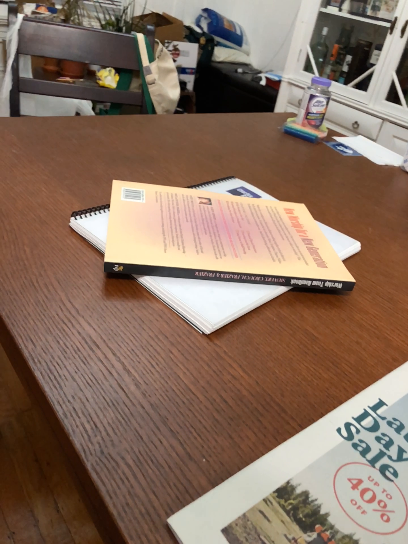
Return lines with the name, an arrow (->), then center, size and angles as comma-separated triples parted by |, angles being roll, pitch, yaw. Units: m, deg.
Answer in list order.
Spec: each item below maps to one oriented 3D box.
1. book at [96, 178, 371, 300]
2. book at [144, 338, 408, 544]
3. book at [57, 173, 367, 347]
book -> 0.023, -0.043, 0.497 | 0.260, 0.020, 0.191 | 4, 33, -11
book -> 0.134, 0.144, 0.260 | 0.271, 0.010, 0.201 | -16, 41, -36
book -> 0.021, -0.043, 0.529 | 0.230, 0.020, 0.291 | 34, 39, 31
